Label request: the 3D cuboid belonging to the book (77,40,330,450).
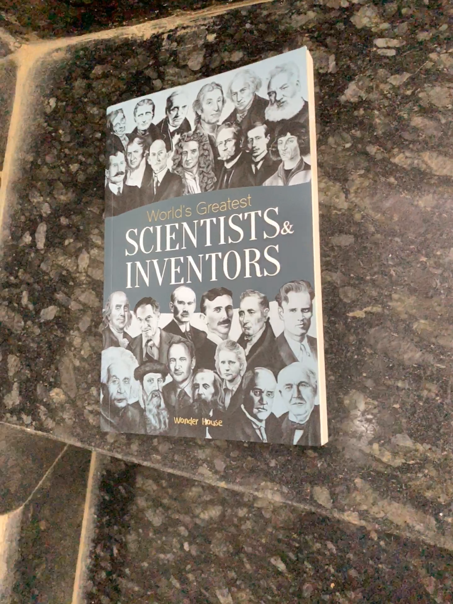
[{"bbox_3d":[-0.018,-0.028,0.262,0.140,0.020,0.200,-4,82,24],"label":"book"}]
